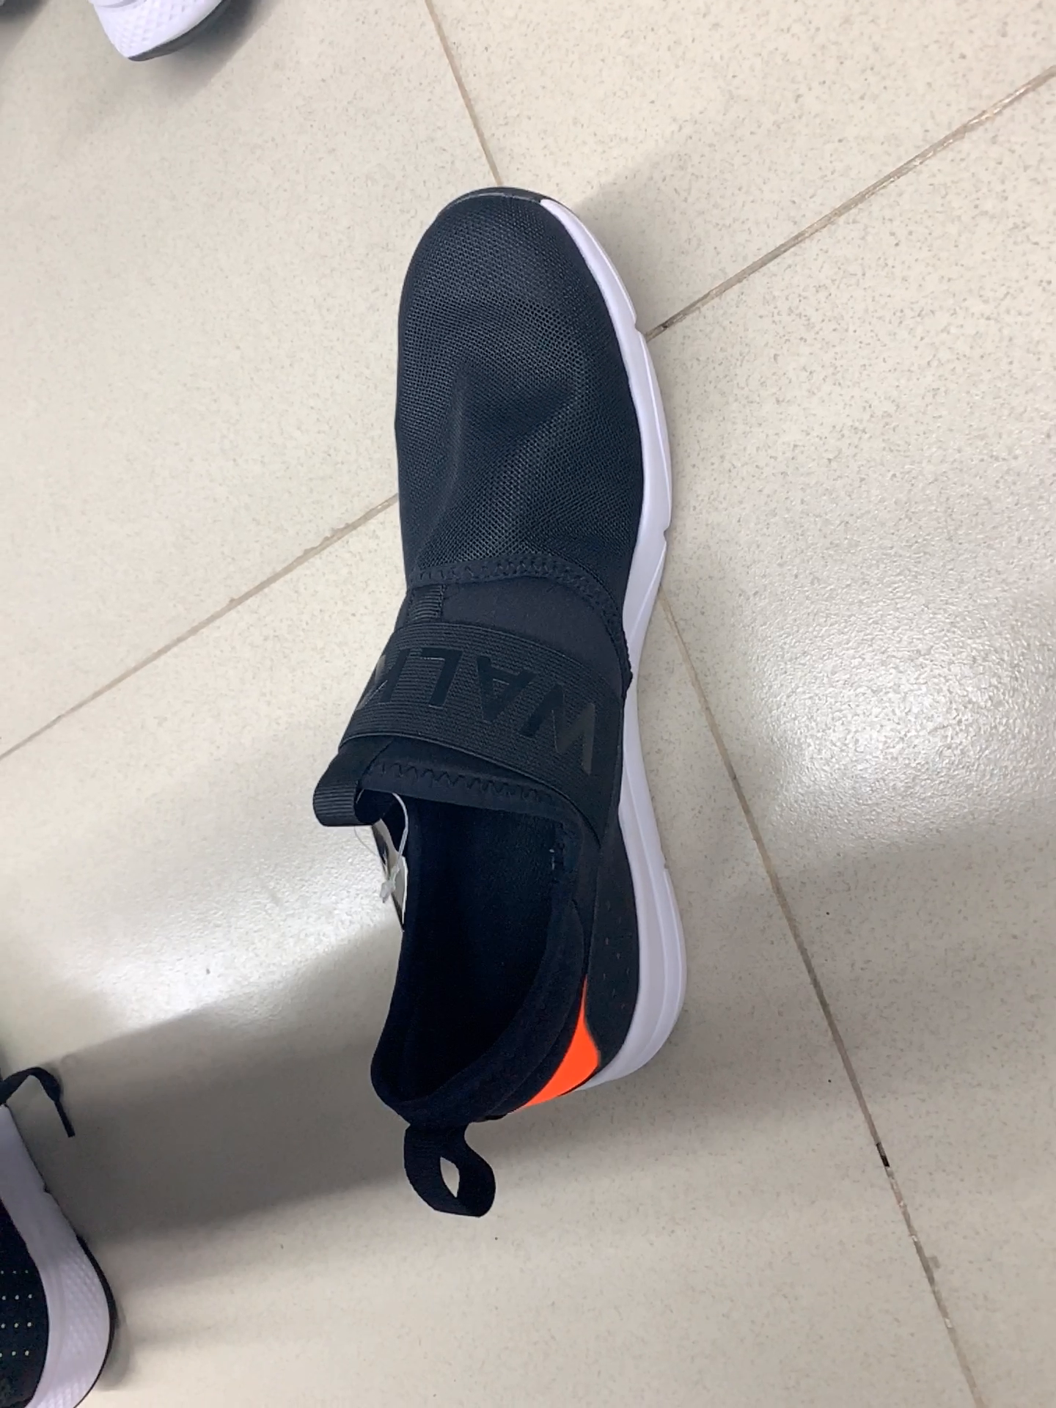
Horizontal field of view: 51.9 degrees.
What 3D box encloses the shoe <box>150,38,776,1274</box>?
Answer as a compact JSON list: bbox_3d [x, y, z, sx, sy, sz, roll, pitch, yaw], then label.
[{"bbox_3d":[-0.013,-0.009,0.325,0.110,0.119,0.280,-5,91,34],"label":"shoe"}]
